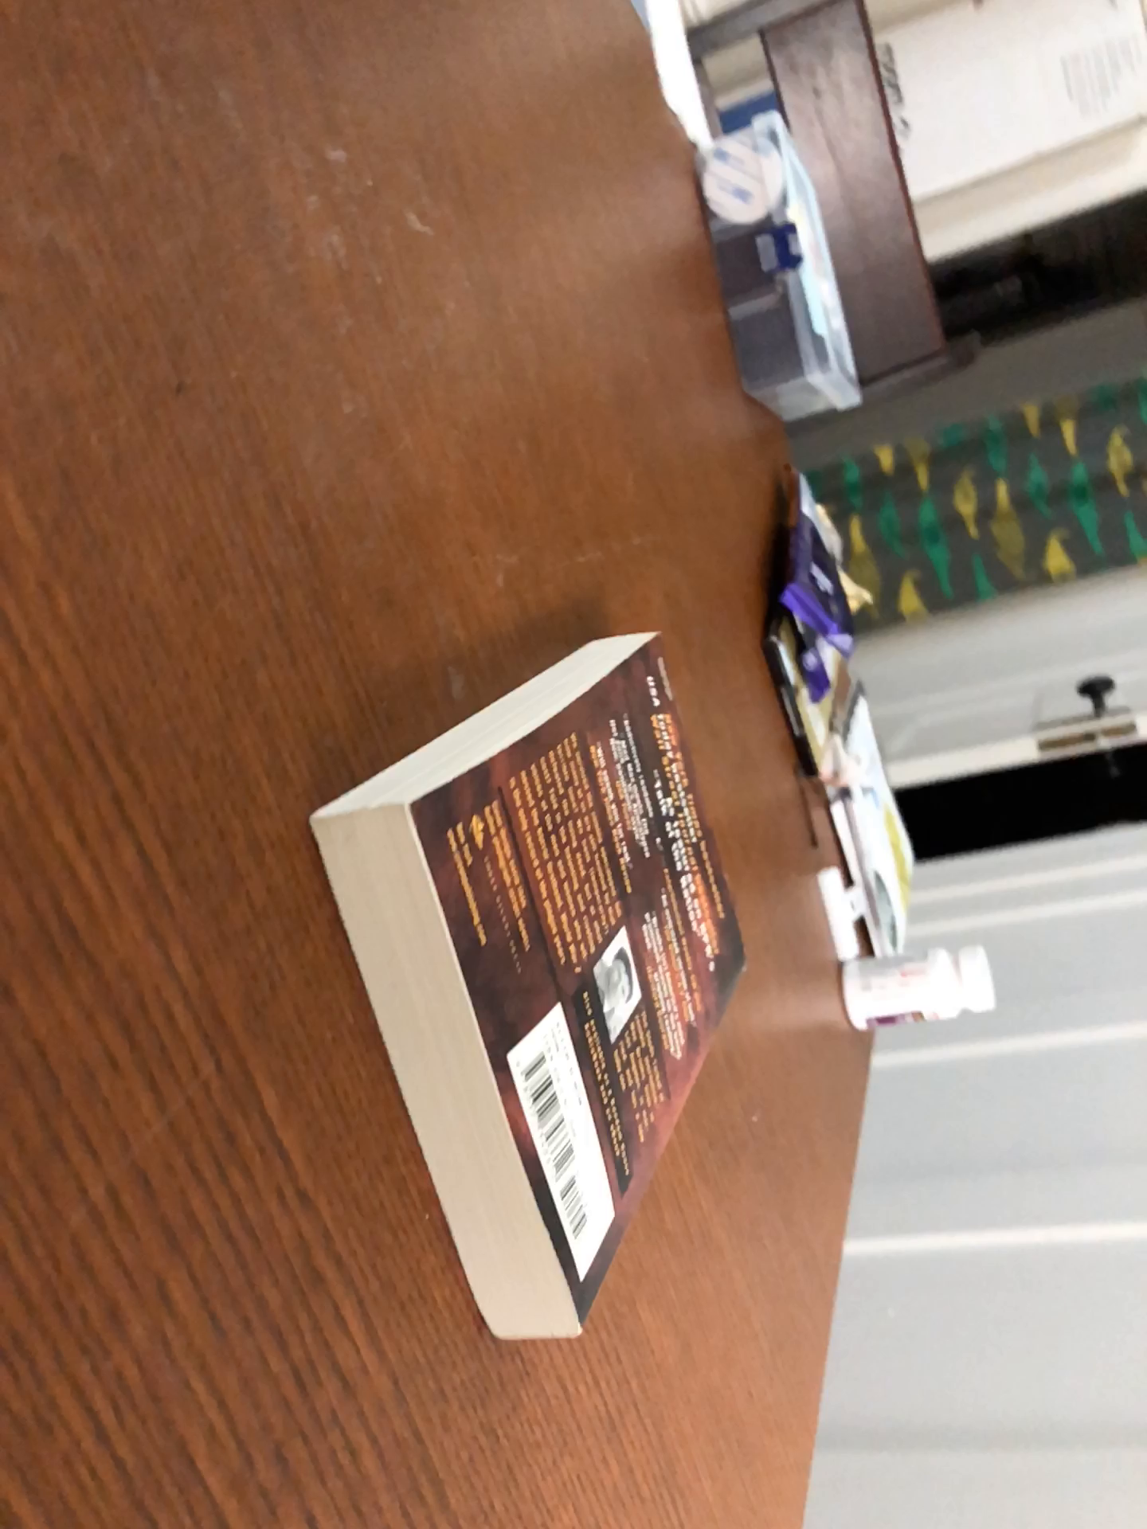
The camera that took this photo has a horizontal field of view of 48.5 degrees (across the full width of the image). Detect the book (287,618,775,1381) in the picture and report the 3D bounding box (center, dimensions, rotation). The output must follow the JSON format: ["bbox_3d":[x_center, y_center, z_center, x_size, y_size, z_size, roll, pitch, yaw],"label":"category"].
[{"bbox_3d":[0.008,0.044,0.375,0.221,0.030,0.140,-38,114,-66],"label":"book"}]
